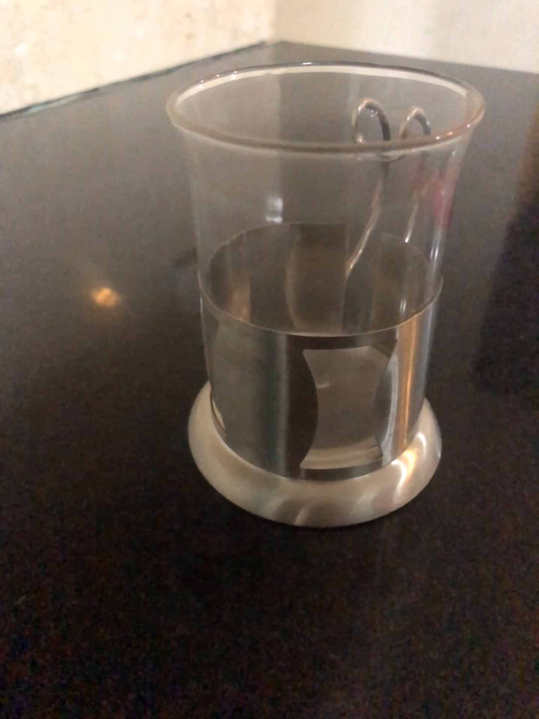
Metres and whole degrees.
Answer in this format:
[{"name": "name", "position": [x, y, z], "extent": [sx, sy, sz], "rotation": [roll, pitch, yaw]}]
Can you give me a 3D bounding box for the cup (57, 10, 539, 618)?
[{"name": "cup", "position": [0.024, -0.024, 0.167], "extent": [0.080, 0.109, 0.111], "rotation": [22, 42, 27]}]
